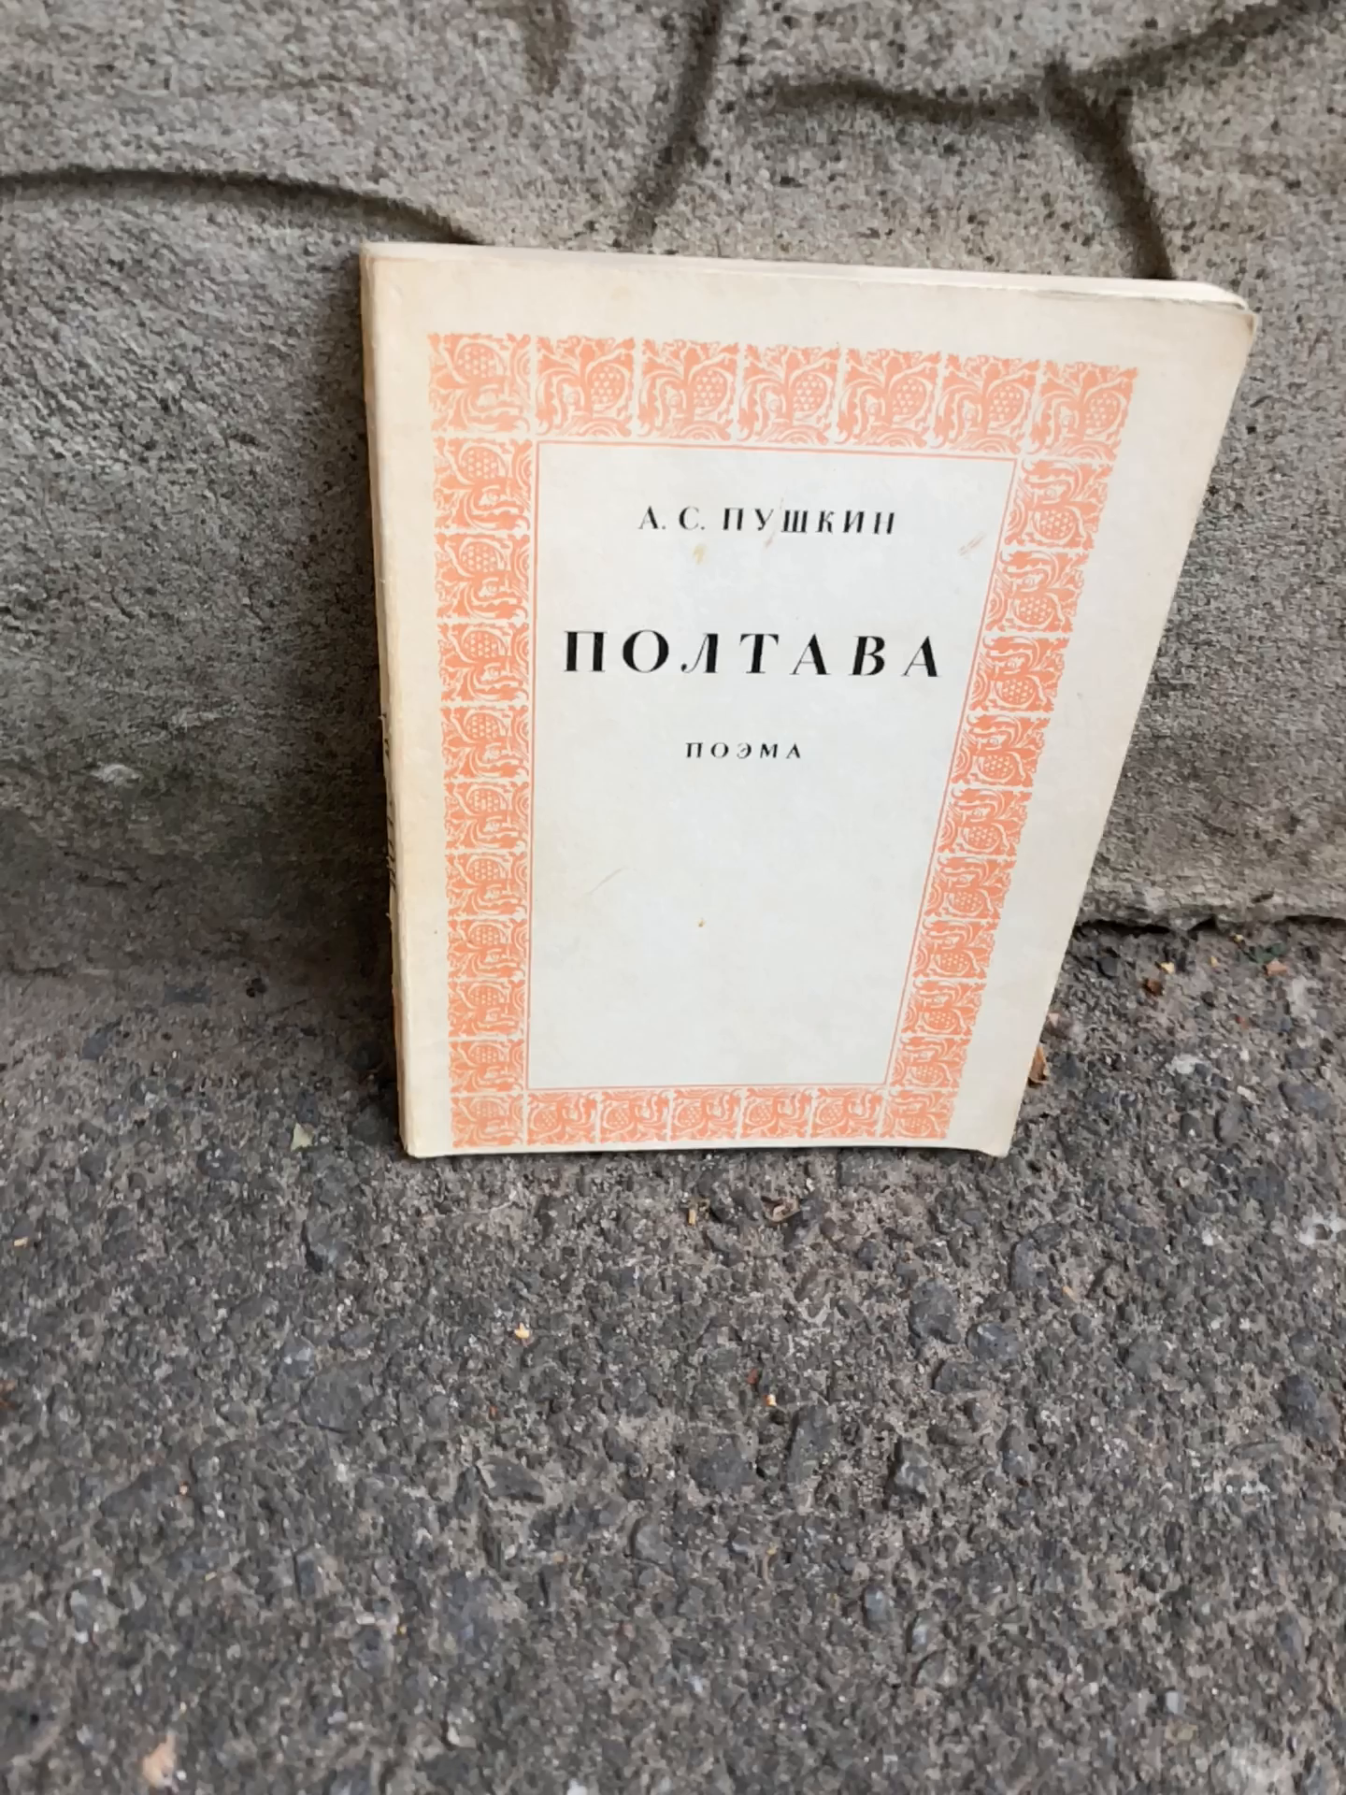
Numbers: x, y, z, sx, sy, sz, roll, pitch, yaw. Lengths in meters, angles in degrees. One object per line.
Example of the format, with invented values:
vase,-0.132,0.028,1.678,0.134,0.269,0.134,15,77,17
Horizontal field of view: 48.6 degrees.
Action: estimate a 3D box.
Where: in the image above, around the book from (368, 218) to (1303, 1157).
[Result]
book,0.020,-0.024,0.303,0.150,0.199,0.020,1,37,-6
